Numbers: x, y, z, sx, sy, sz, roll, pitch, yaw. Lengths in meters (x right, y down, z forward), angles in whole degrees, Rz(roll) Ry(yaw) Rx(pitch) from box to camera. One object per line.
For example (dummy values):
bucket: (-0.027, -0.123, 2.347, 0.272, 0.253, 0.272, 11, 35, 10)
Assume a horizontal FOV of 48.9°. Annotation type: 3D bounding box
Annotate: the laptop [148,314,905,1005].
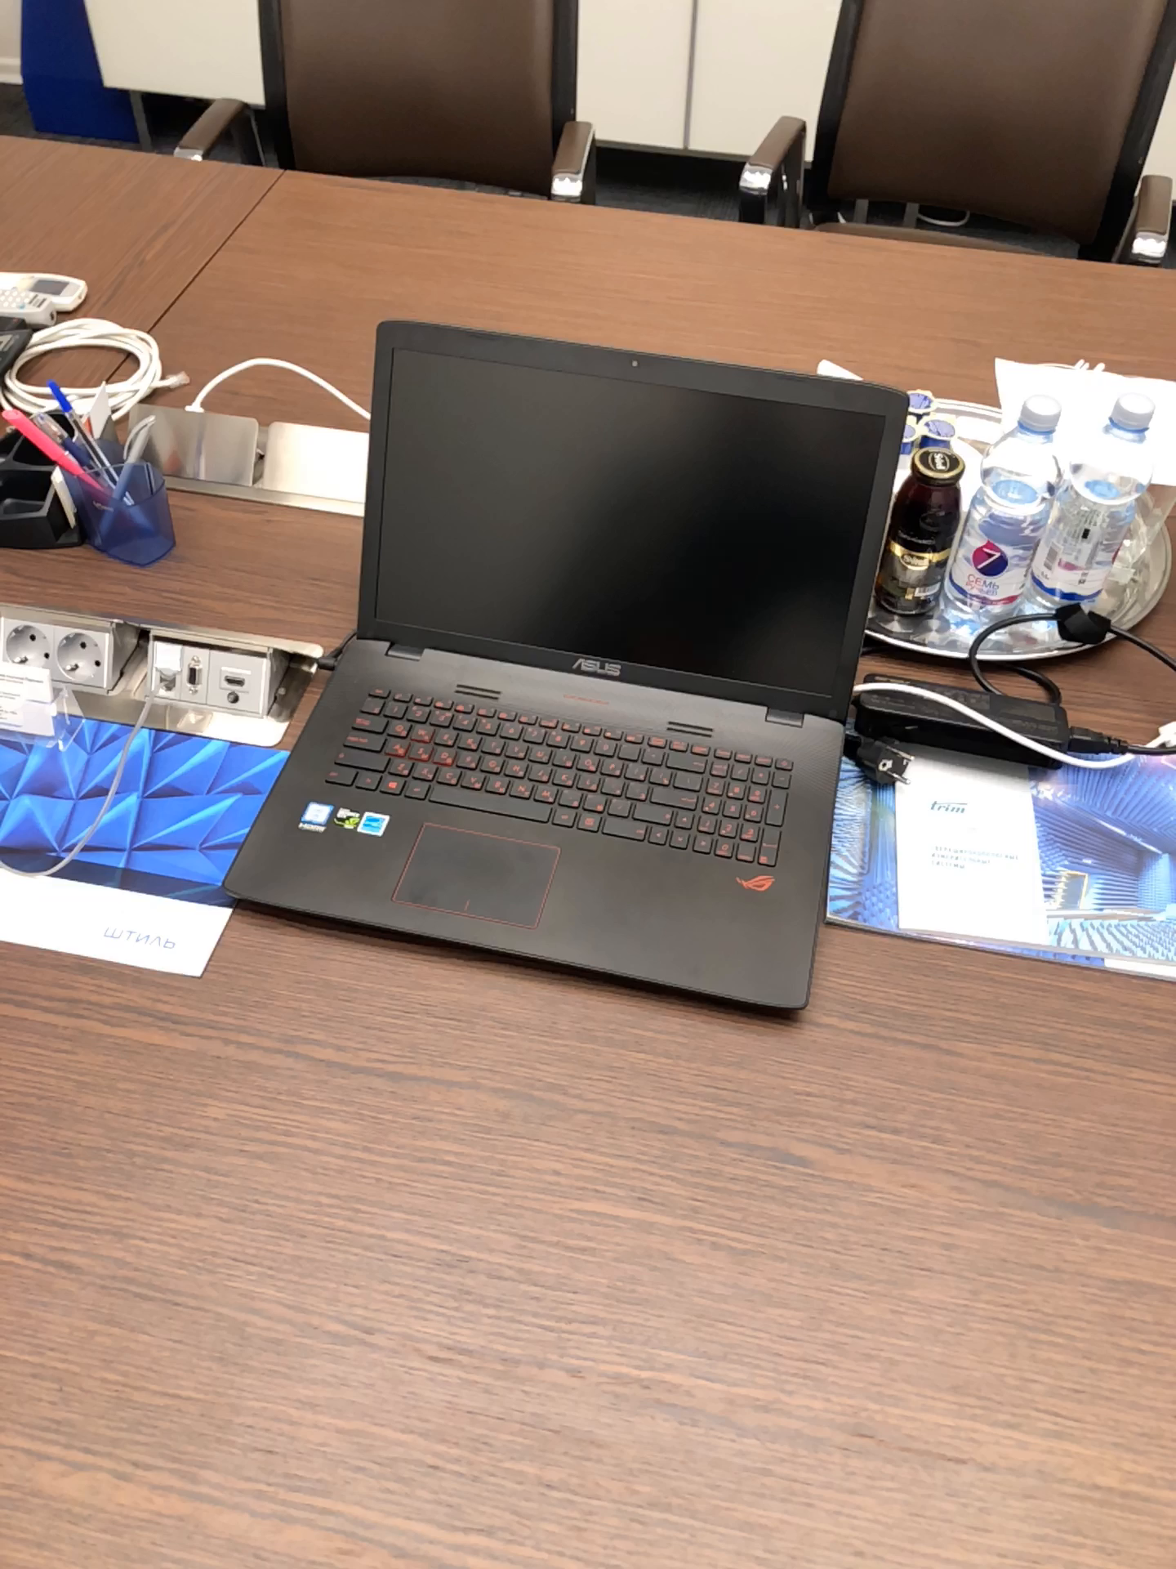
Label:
laptop: (-0.012, -0.102, 0.858, 0.379, 0.194, 0.370, 10, 50, 8)
